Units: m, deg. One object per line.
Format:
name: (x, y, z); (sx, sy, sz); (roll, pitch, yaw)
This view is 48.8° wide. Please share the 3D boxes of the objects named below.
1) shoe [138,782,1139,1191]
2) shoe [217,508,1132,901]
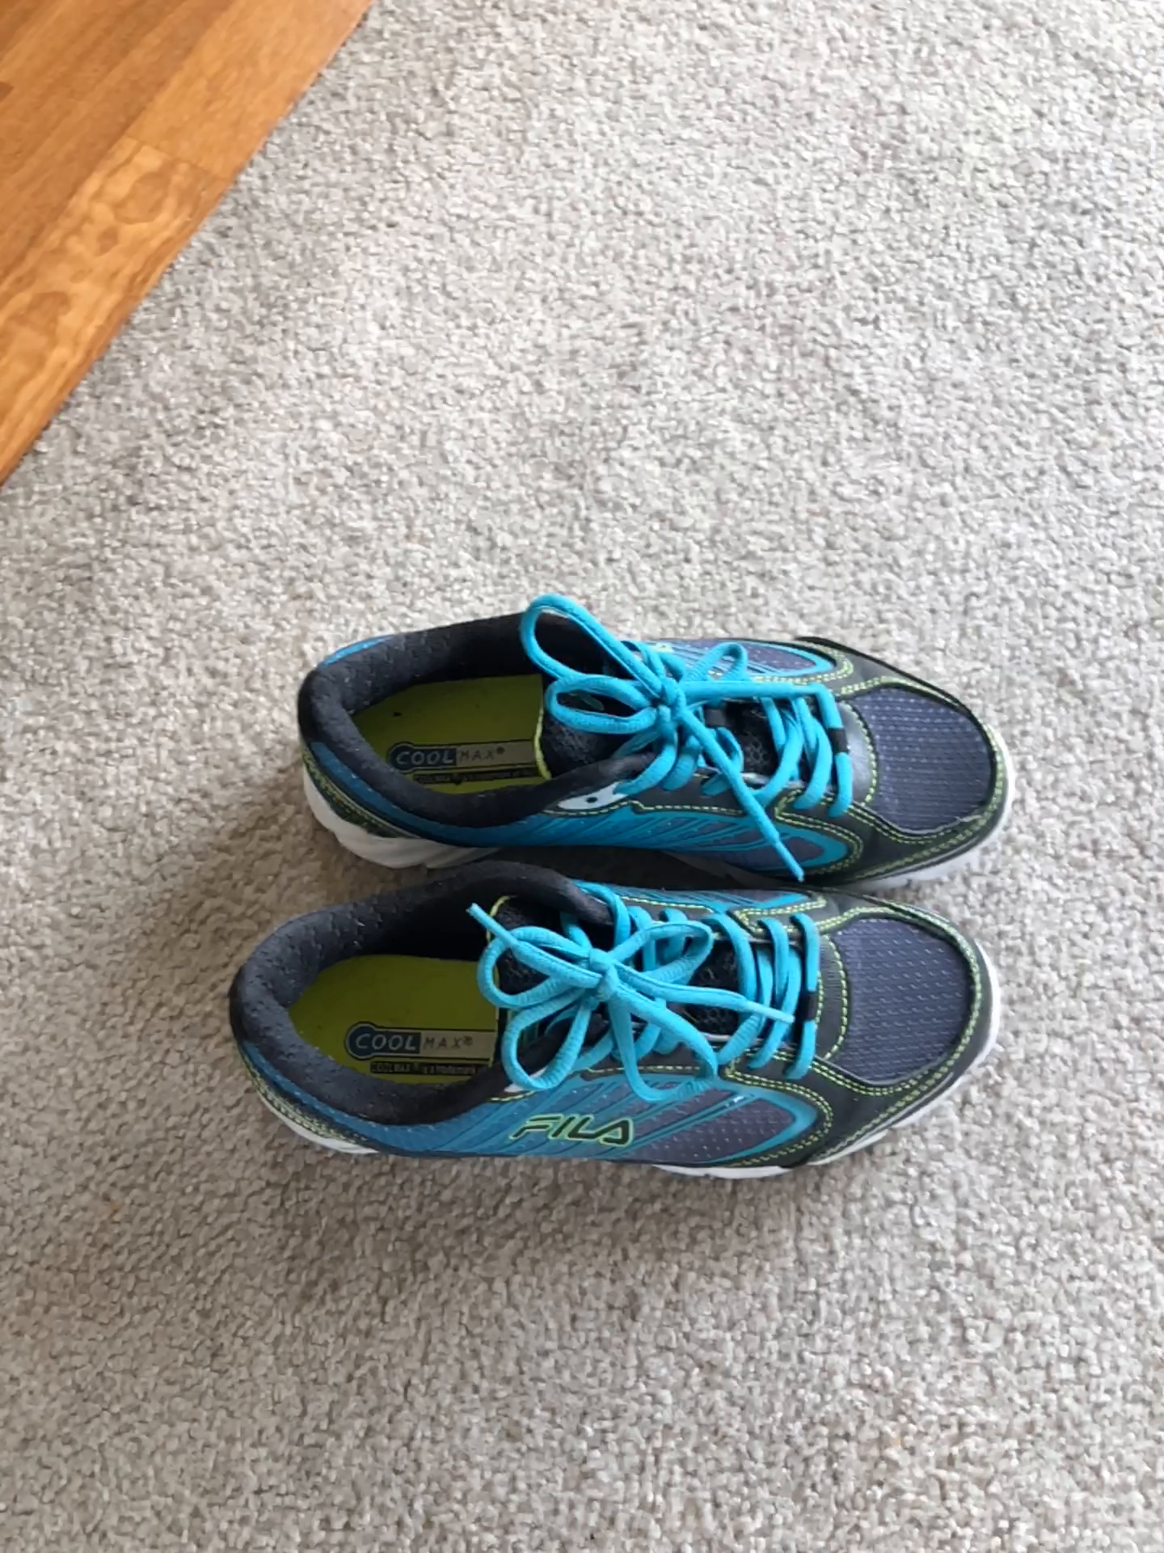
shoe: (0.016, 0.074, 0.422); (0.271, 0.119, 0.105); (1, 68, 2)
shoe: (0.028, -0.020, 0.458); (0.274, 0.119, 0.102); (0, 71, 1)
